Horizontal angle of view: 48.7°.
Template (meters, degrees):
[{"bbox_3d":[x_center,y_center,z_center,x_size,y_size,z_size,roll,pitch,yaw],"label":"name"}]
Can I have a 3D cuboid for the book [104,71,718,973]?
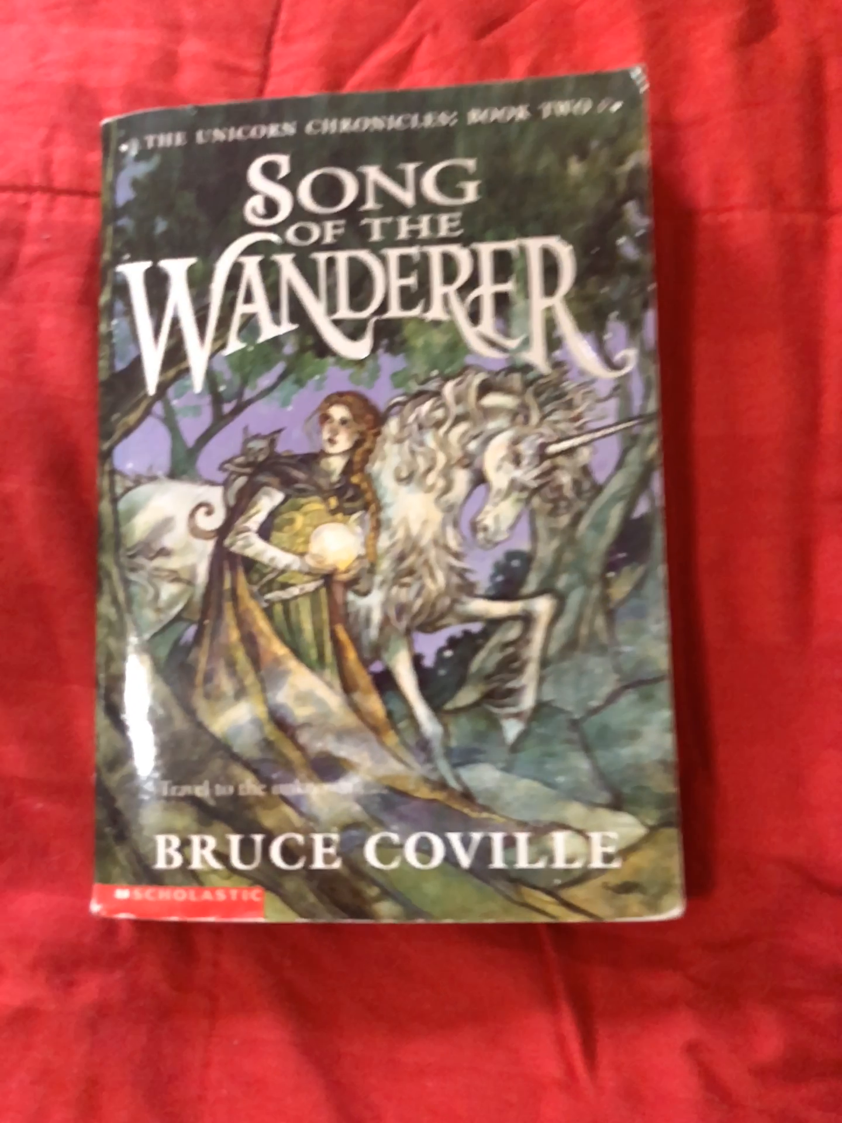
[{"bbox_3d":[-0.005,-0.009,0.218,0.130,0.030,0.190,-2,85,7],"label":"book"}]
